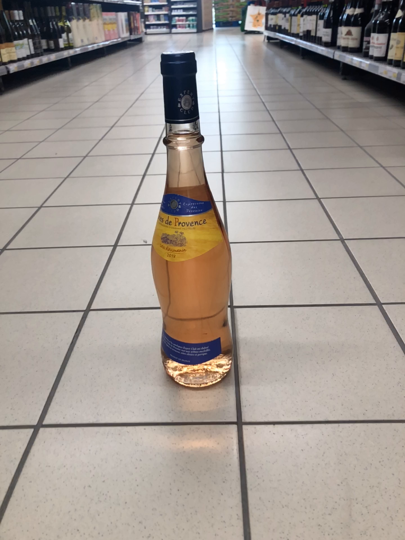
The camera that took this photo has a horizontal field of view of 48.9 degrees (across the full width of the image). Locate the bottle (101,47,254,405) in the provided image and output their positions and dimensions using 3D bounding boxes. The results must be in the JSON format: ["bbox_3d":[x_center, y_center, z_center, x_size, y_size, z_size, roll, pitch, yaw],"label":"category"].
[{"bbox_3d":[-0.012,-0.031,0.423,0.090,0.318,0.080,15,33,29],"label":"bottle"}]
